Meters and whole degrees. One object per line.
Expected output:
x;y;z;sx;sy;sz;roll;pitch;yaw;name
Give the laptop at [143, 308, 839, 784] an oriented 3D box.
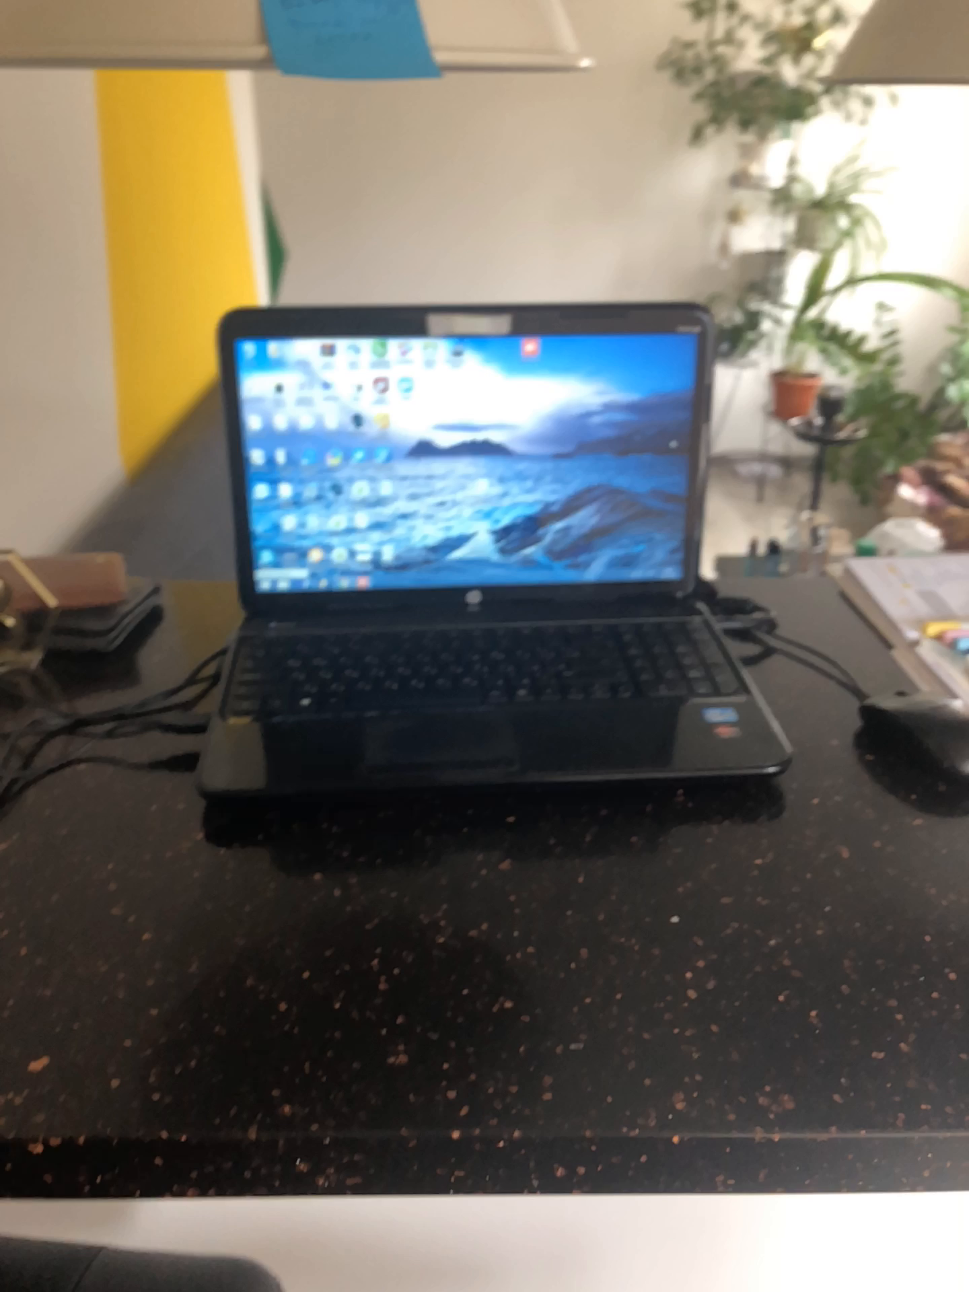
-0.002;-0.085;0.724;0.360;0.217;0.269;-2;27;-4;laptop
